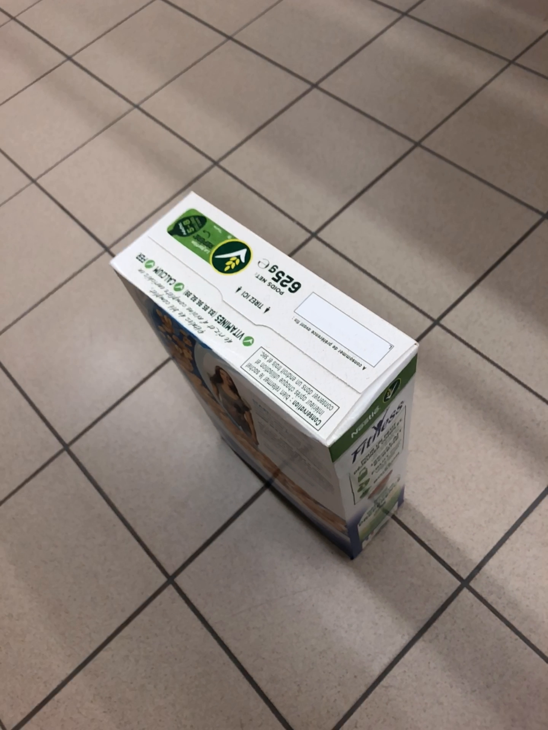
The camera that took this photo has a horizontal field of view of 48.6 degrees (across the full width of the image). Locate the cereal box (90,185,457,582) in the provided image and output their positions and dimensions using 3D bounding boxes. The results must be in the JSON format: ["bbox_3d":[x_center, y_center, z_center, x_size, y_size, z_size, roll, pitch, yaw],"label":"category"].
[{"bbox_3d":[0.012,0.038,0.481,0.210,0.299,0.090,37,73,25],"label":"cereal box"}]
